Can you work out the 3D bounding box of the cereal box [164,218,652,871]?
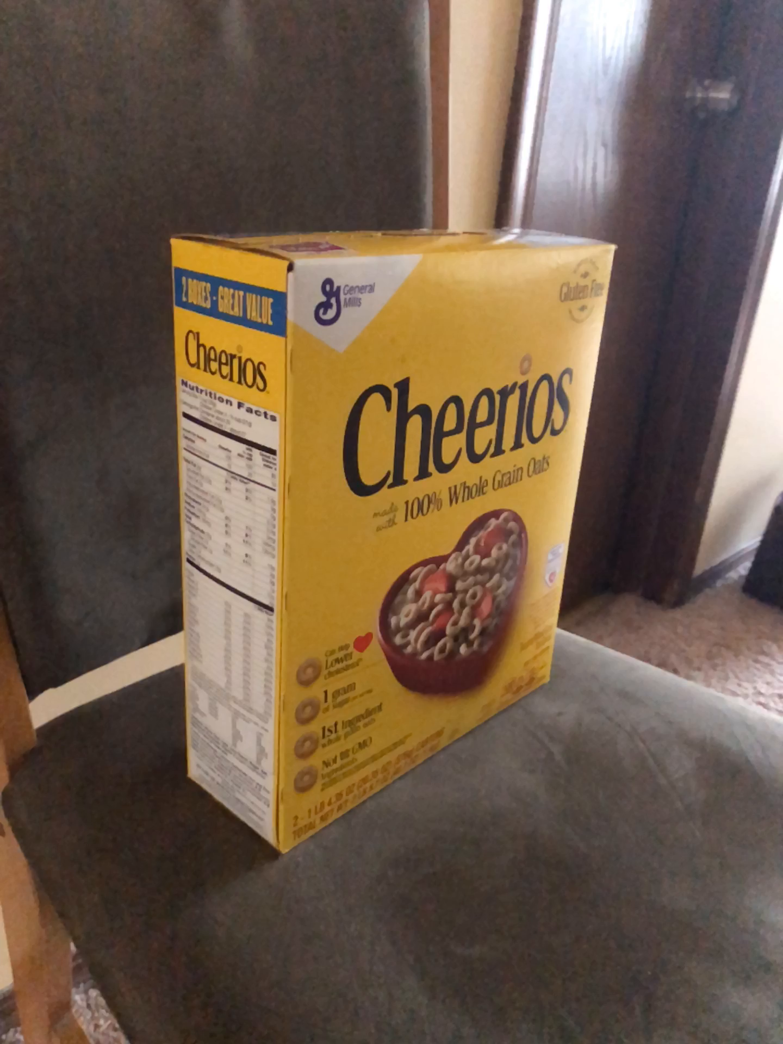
[{"bbox_3d":[0.015,-0.008,0.490,0.090,0.299,0.260,25,31,38],"label":"cereal box"}]
